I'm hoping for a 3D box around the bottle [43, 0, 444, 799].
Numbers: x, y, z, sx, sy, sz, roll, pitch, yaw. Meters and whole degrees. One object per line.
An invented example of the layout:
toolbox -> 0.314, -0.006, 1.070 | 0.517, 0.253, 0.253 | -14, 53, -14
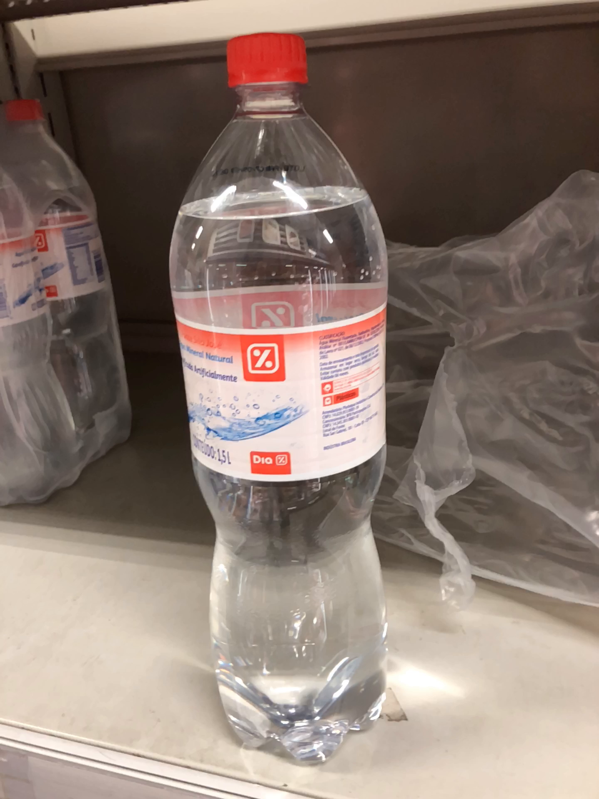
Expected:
bottle -> -0.008, 0.010, 0.296 | 0.100, 0.318, 0.100 | -4, 23, 2
